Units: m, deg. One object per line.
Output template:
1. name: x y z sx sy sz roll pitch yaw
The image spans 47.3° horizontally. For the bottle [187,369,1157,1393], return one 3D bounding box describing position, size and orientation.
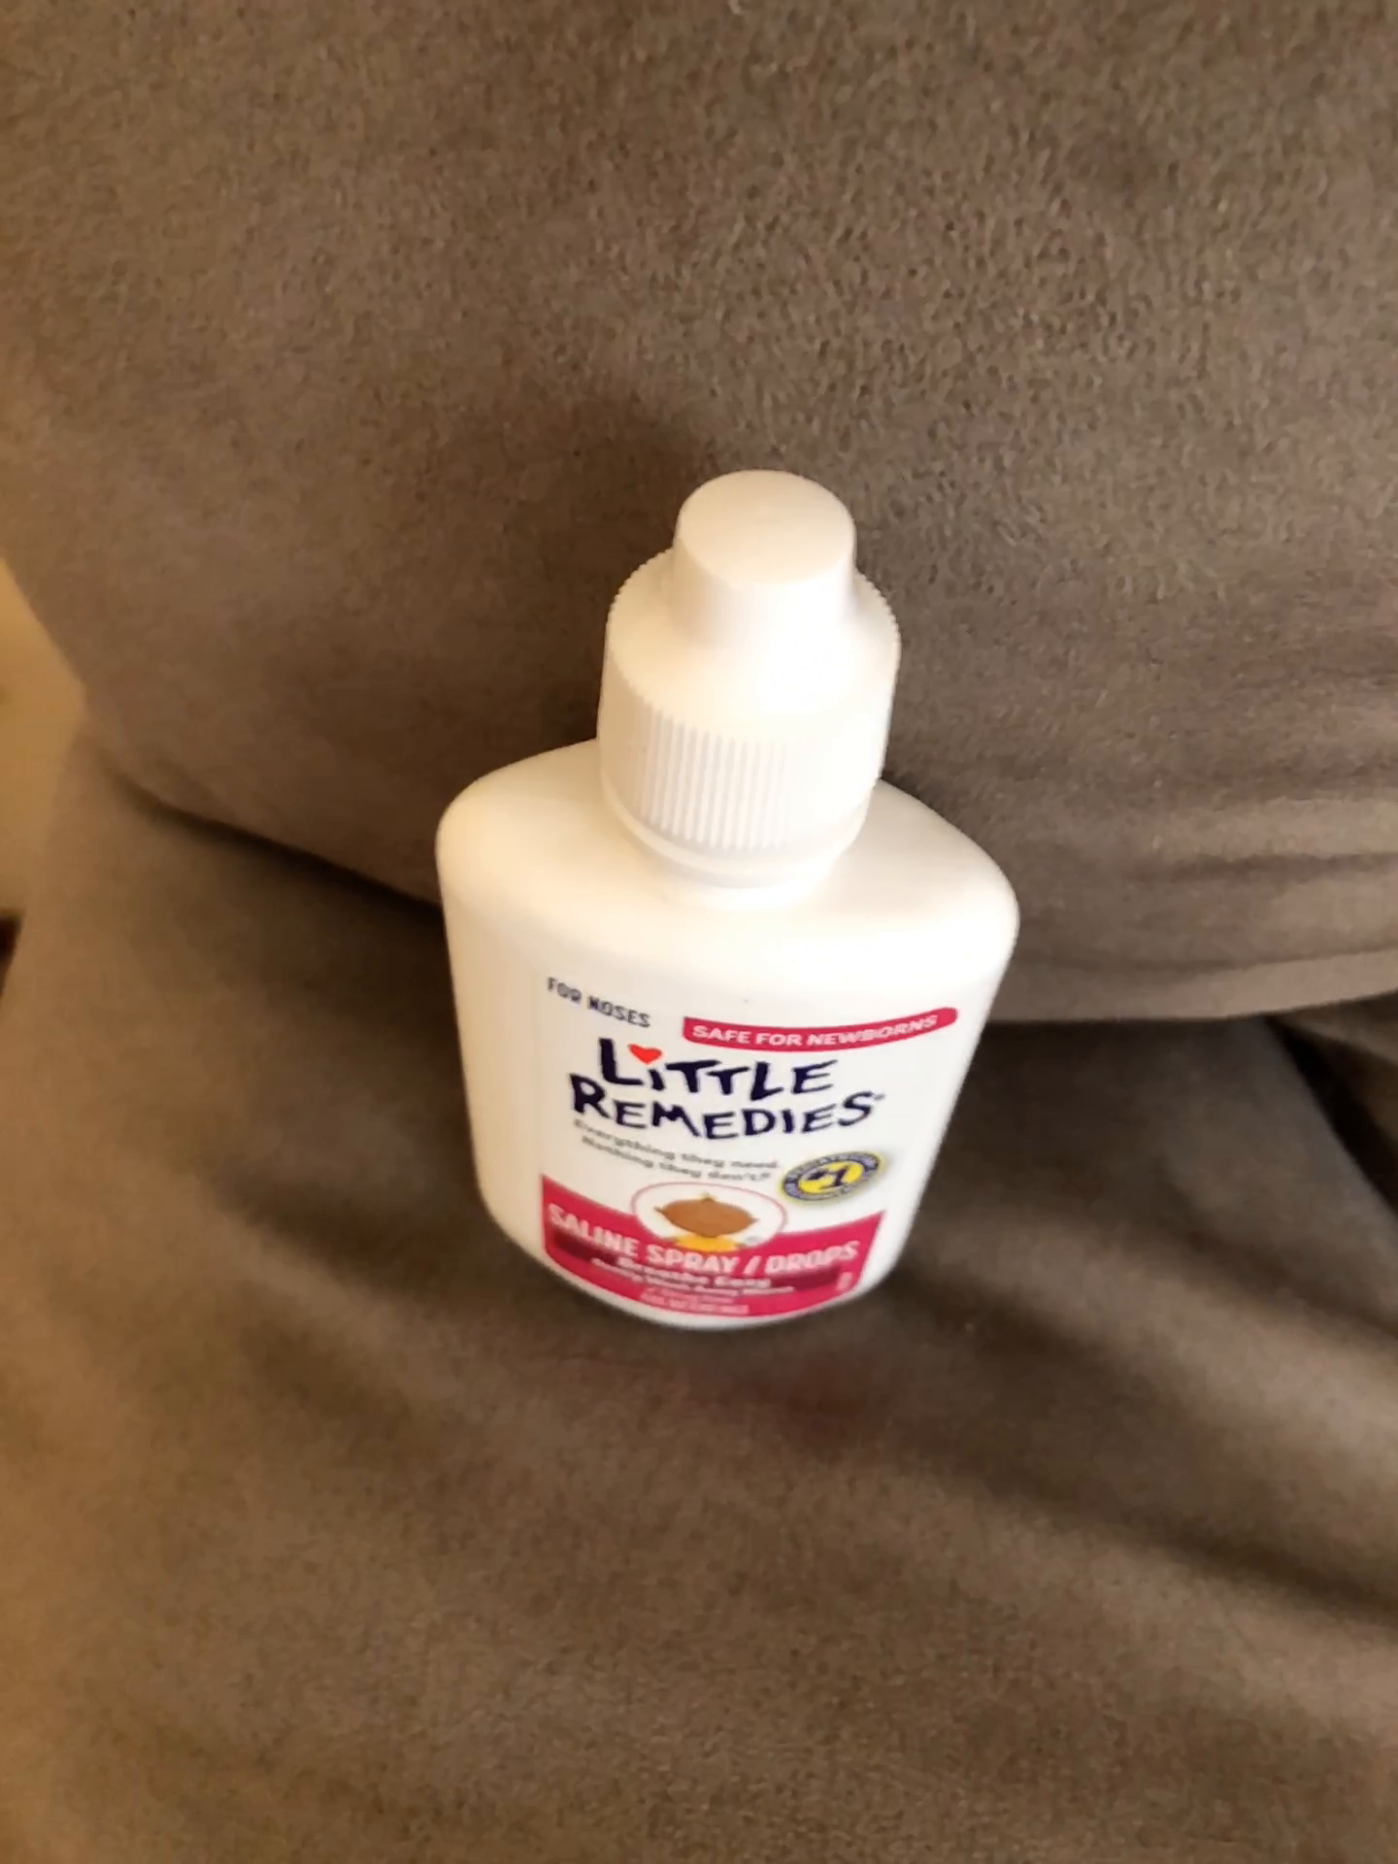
1. bottle: 0.001 0.006 0.153 0.060 0.110 0.030 10 57 9
